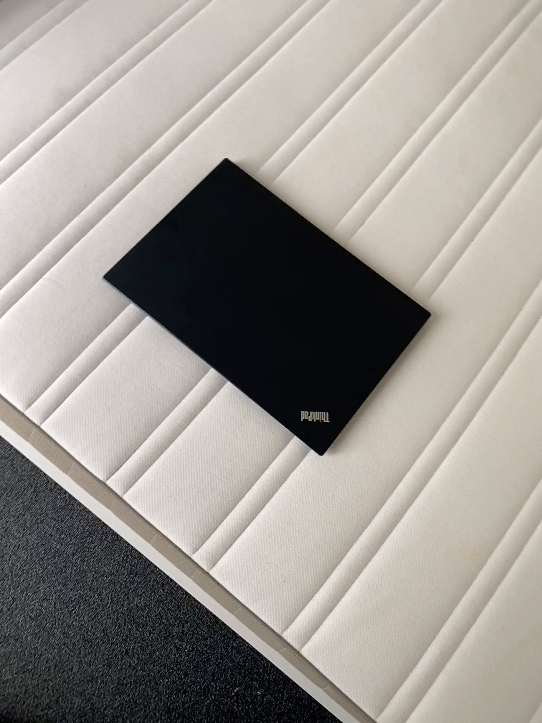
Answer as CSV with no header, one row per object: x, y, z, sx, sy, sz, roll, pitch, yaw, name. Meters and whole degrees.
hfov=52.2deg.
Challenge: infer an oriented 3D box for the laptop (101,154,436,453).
0.002,-0.082,0.656,0.325,0.012,0.226,38,71,6,laptop
